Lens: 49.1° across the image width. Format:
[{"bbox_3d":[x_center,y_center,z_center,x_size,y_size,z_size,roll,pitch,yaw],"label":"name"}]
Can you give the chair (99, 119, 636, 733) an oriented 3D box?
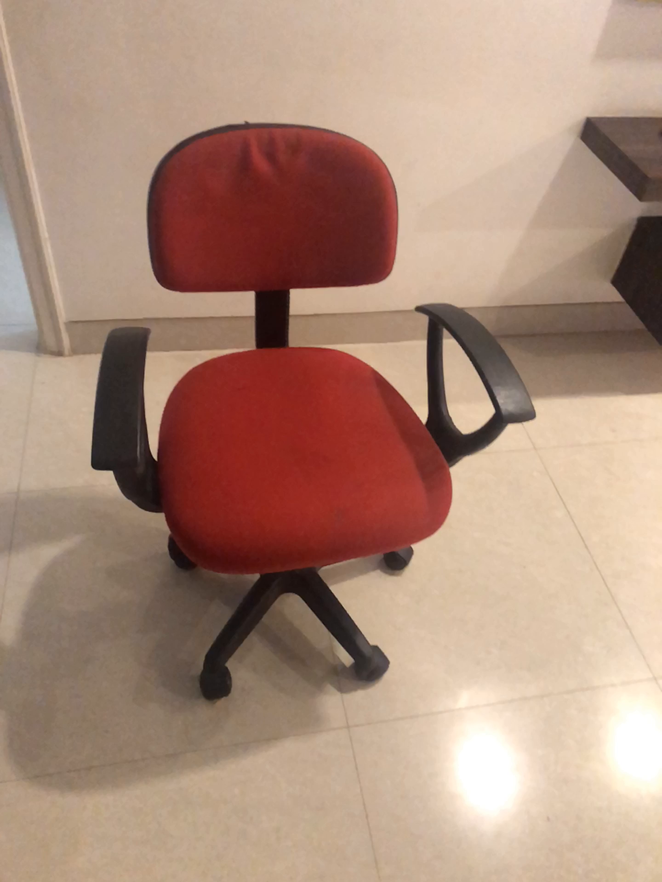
[{"bbox_3d":[-0.039,-0.026,1.165,0.540,0.725,0.604,-6,47,-13],"label":"chair"}]
